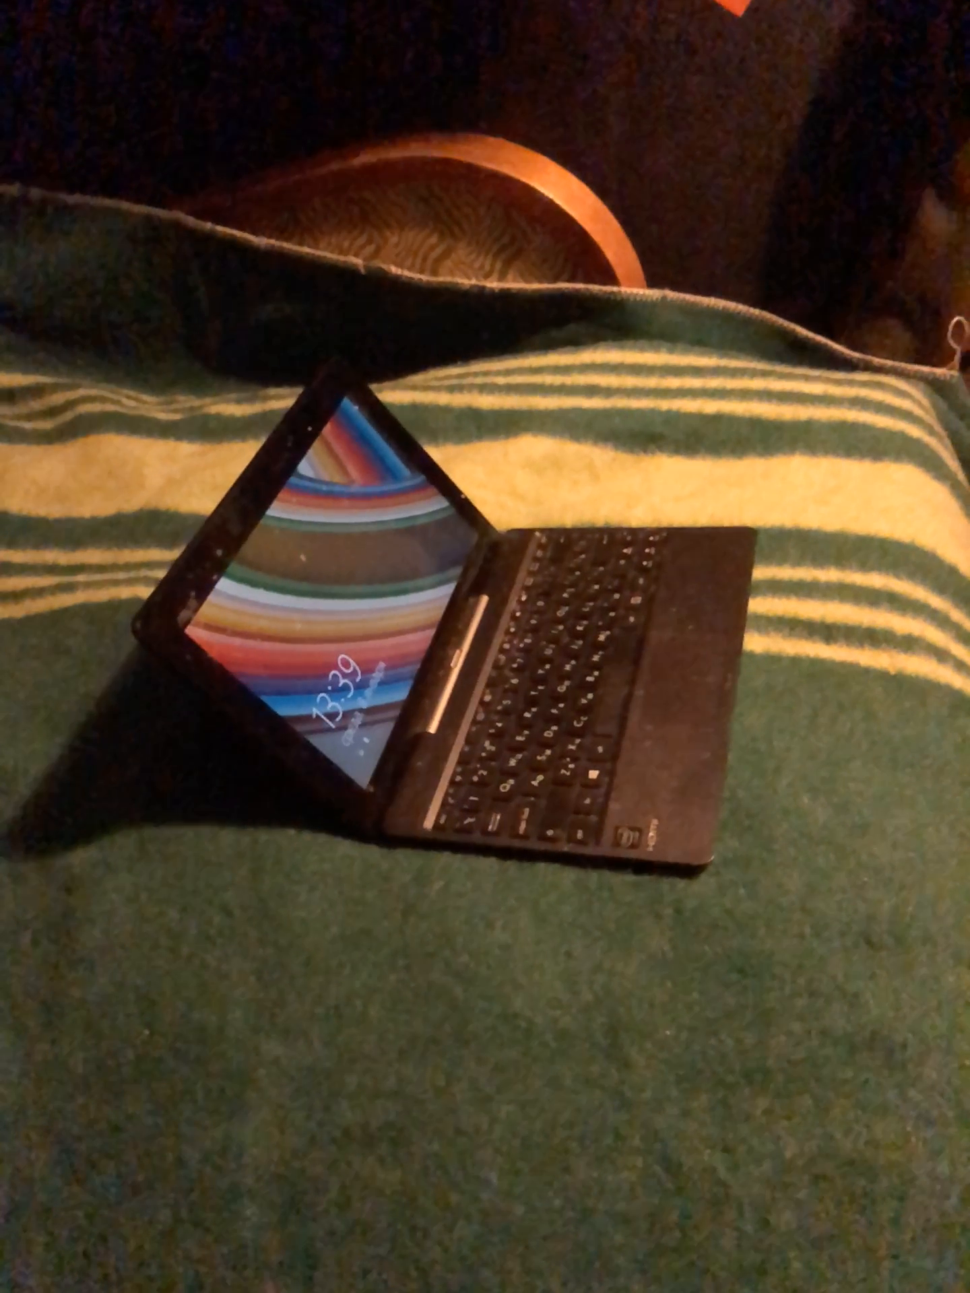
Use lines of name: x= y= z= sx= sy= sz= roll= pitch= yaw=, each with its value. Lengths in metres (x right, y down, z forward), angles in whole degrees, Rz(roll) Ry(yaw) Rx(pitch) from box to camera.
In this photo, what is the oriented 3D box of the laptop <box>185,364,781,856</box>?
laptop: x=0.015 y=-0.036 z=0.591 sx=0.257 sy=0.116 sz=0.258 roll=4 pitch=43 yaw=17
